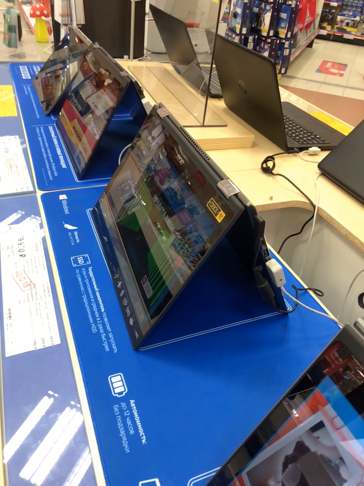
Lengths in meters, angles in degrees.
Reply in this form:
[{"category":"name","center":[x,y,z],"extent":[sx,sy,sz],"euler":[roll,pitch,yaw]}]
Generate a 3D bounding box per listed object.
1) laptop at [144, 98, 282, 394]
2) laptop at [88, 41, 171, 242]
[{"category":"laptop","center":[0.039,0.016,0.665],"extent":[0.201,0.159,0.308],"euler":[25,22,-43]},{"category":"laptop","center":[-0.131,-0.238,0.968],"extent":[0.175,0.179,0.270],"euler":[19,25,-37]}]
